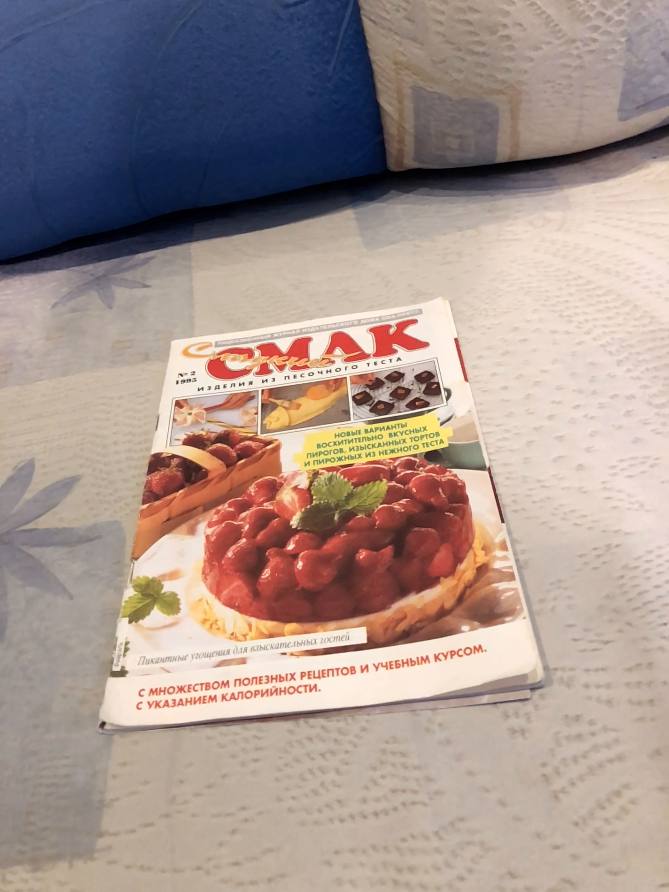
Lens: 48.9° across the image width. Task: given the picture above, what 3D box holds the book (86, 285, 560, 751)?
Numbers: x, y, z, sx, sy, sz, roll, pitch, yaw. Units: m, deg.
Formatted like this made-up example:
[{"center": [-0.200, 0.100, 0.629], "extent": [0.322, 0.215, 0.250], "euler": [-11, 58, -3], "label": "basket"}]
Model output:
[{"center": [-0.010, 0.014, 0.360], "extent": [0.177, 0.020, 0.242], "euler": [-9, 46, 6], "label": "book"}]
